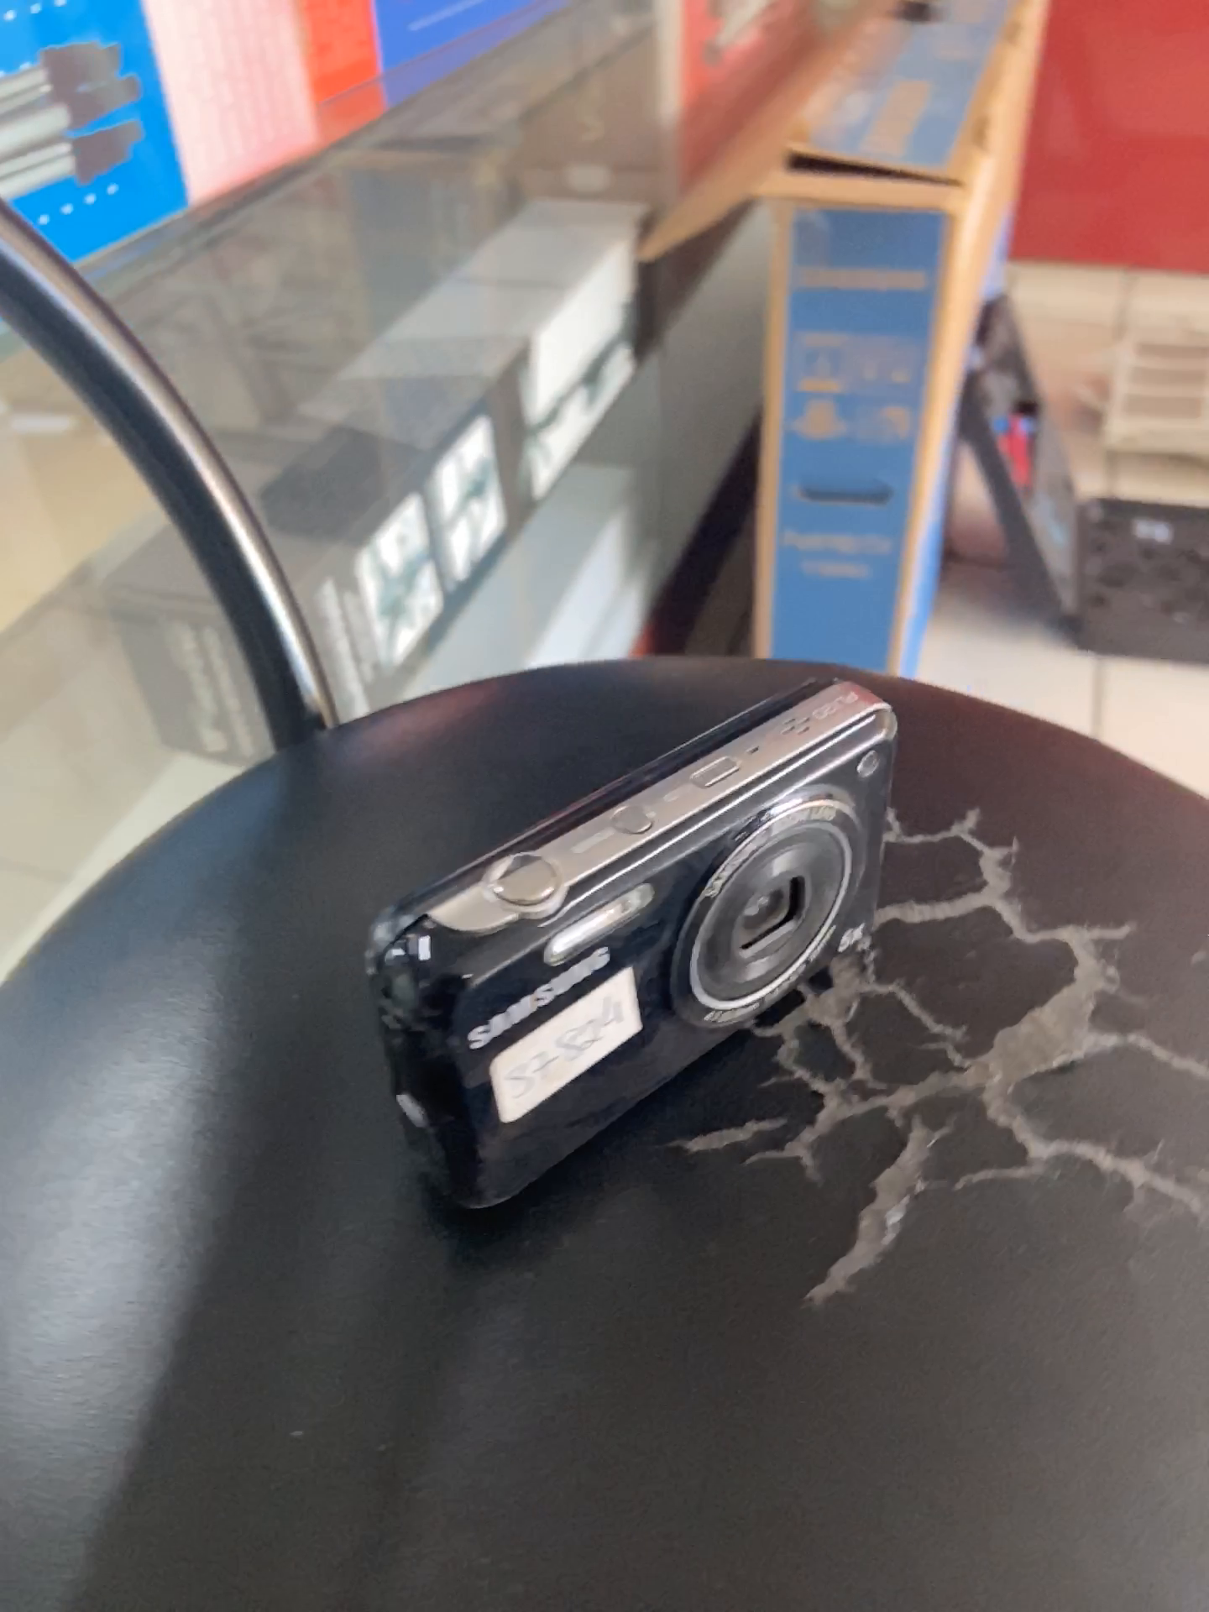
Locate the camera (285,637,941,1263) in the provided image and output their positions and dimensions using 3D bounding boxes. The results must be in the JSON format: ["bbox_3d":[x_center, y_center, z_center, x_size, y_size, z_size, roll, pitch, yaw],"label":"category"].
[{"bbox_3d":[0.006,0.019,0.202,0.100,0.050,0.030,-30,47,-26],"label":"camera"}]
